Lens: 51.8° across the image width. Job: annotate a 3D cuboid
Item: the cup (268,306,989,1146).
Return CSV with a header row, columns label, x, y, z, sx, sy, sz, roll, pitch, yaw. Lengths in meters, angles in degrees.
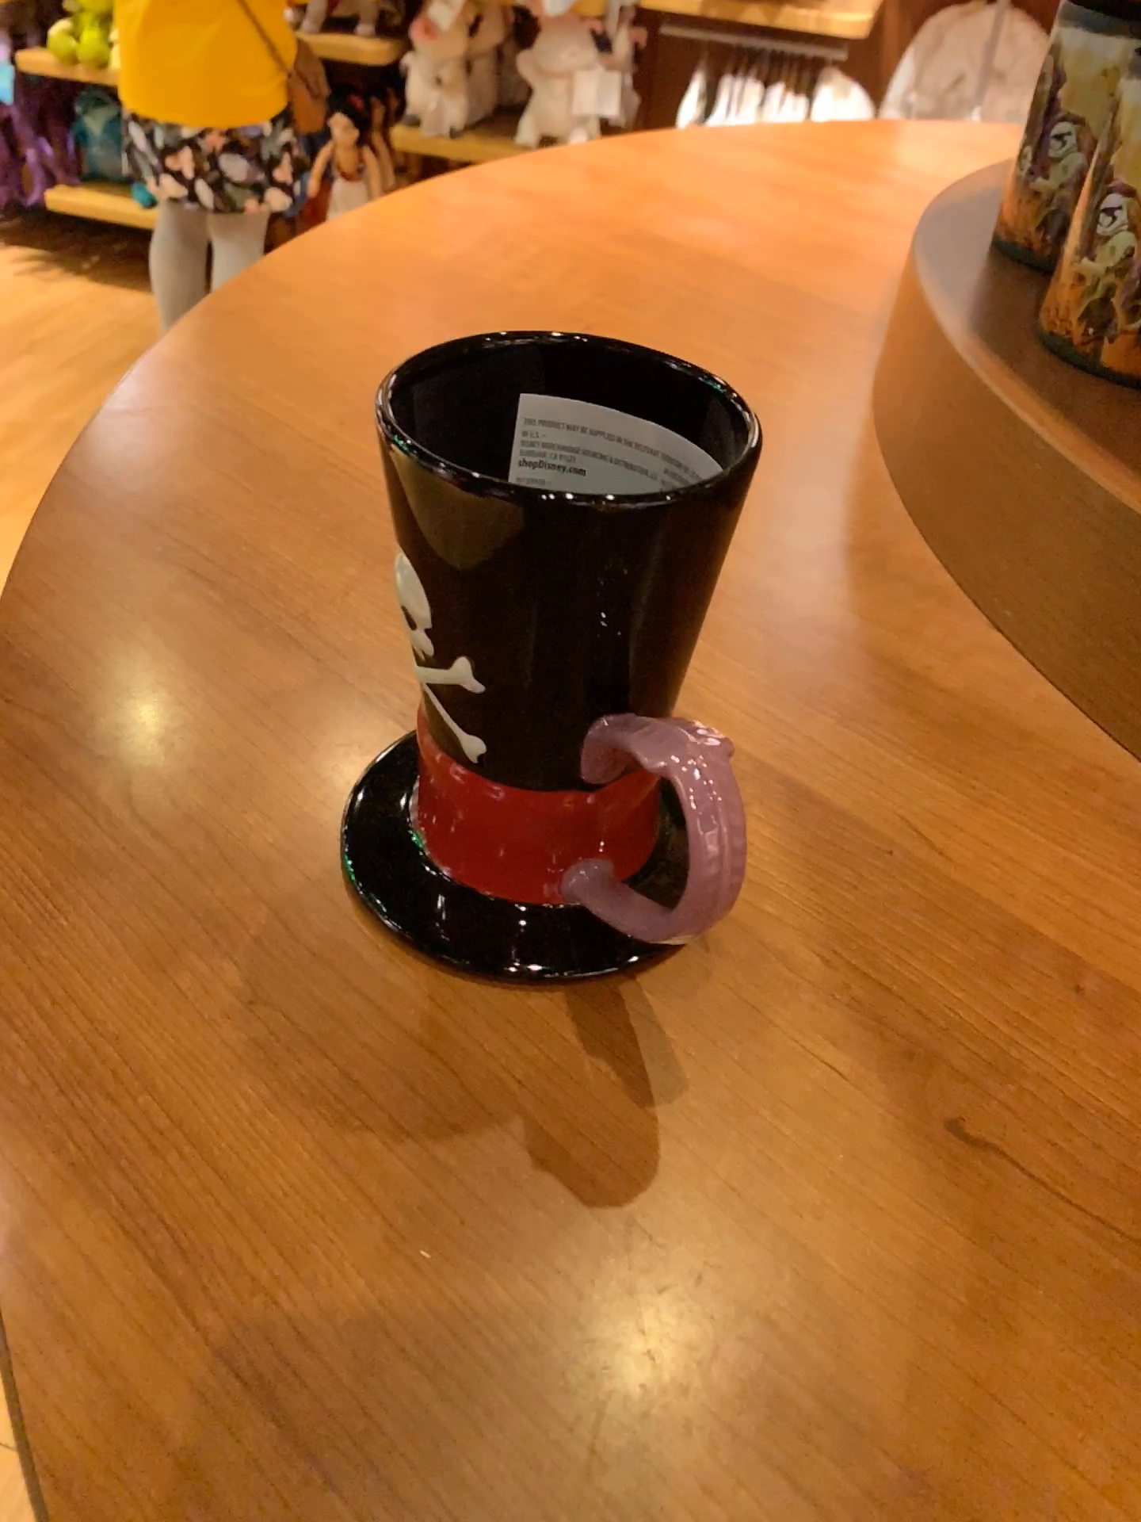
label,x,y,z,sx,sy,sz,roll,pitch,yaw
cup,-0.001,-0.016,0.300,0.110,0.144,0.135,-12,44,-20
